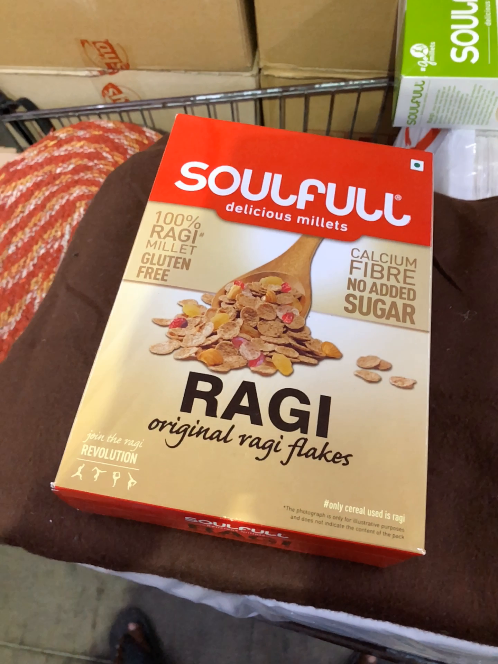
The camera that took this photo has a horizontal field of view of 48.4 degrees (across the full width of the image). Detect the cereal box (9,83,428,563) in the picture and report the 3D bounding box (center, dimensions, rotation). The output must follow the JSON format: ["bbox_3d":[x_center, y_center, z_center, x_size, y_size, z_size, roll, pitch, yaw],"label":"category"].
[{"bbox_3d":[0.003,-0.019,0.302,0.170,0.050,0.241,9,64,1],"label":"cereal box"}]
